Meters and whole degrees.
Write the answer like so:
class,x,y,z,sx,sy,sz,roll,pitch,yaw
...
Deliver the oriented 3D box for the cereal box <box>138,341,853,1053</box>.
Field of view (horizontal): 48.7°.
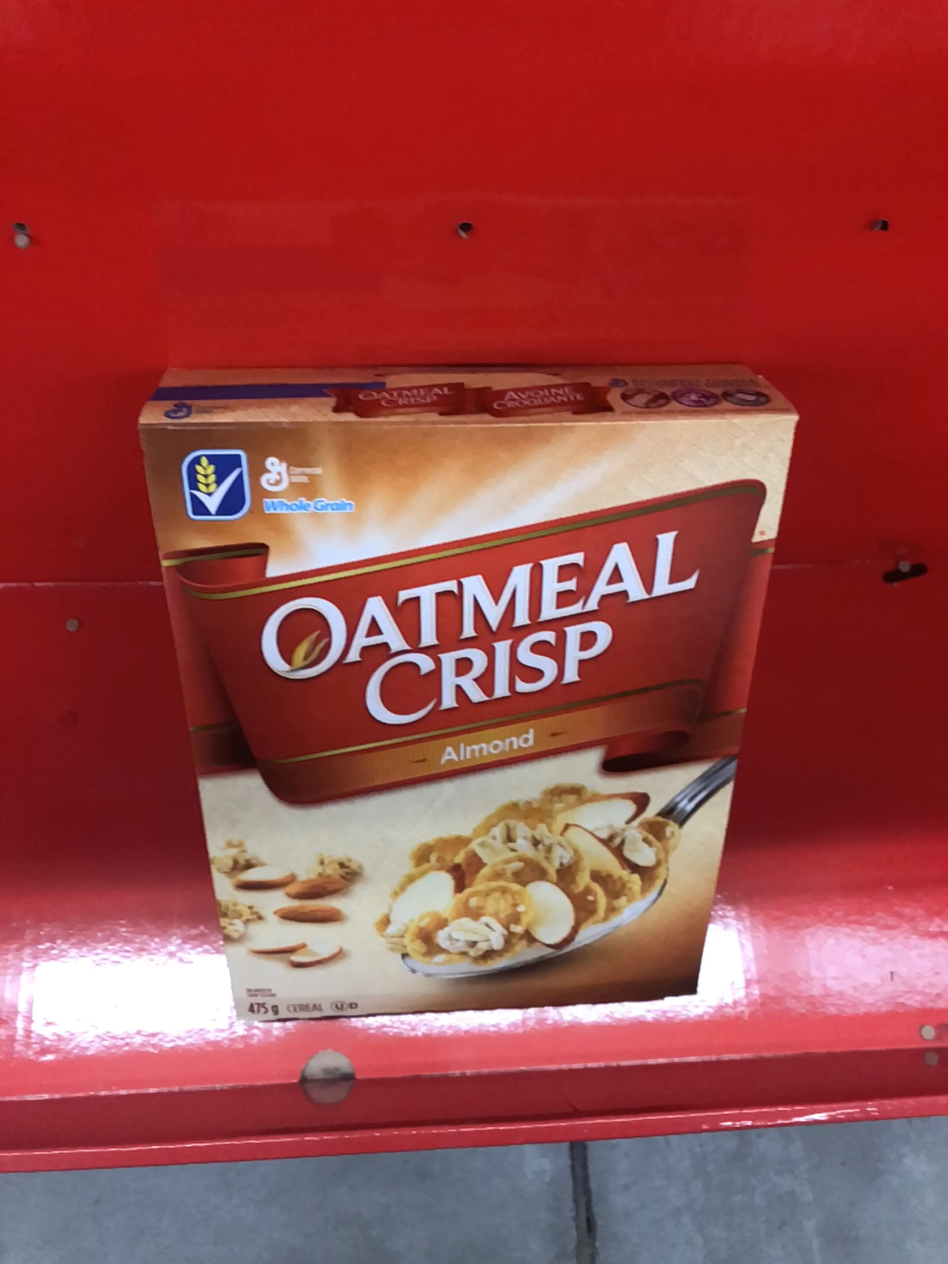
class,x,y,z,sx,sy,sz,roll,pitch,yaw
cereal box,0.004,0.034,0.402,0.210,0.269,0.070,-2,30,-6
